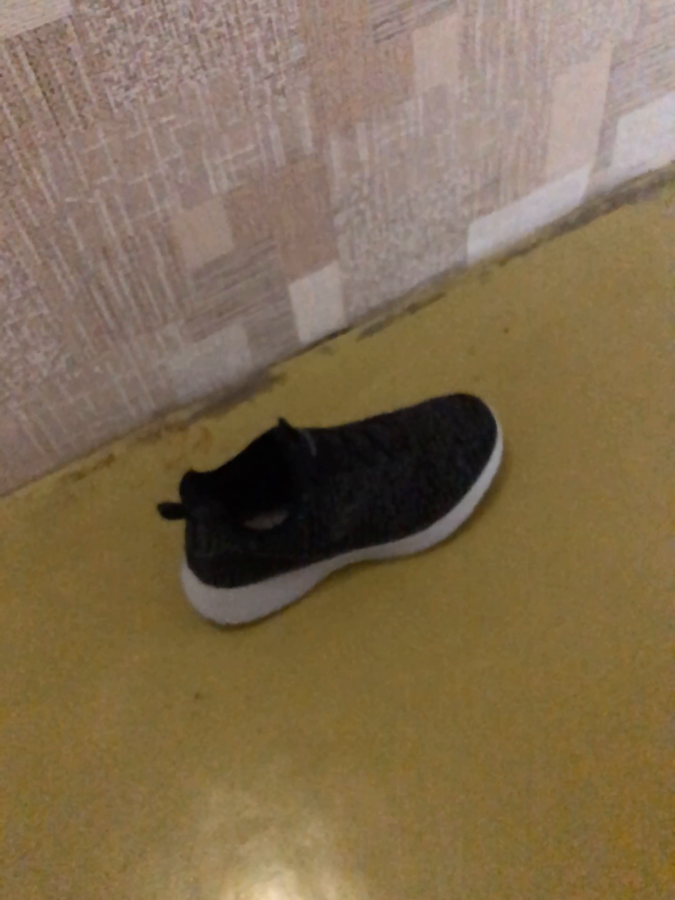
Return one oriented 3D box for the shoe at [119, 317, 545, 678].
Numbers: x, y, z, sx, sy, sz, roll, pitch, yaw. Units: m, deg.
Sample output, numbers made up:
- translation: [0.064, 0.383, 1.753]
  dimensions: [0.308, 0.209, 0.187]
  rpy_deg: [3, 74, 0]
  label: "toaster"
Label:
- translation: [0.004, 0.035, 0.643]
  dimensions: [0.320, 0.130, 0.120]
  rpy_deg: [-28, 52, -13]
  label: "shoe"
